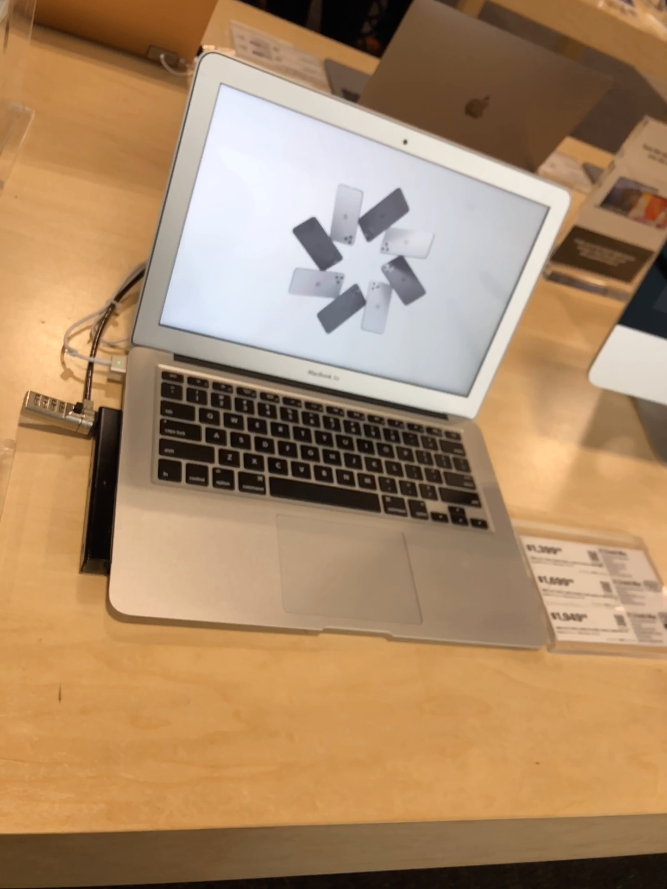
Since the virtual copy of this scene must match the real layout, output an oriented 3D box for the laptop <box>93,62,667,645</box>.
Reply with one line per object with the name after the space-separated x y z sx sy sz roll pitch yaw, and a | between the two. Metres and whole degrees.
0.029 -0.057 0.533 0.324 0.202 0.310 10 46 -20 | laptop
